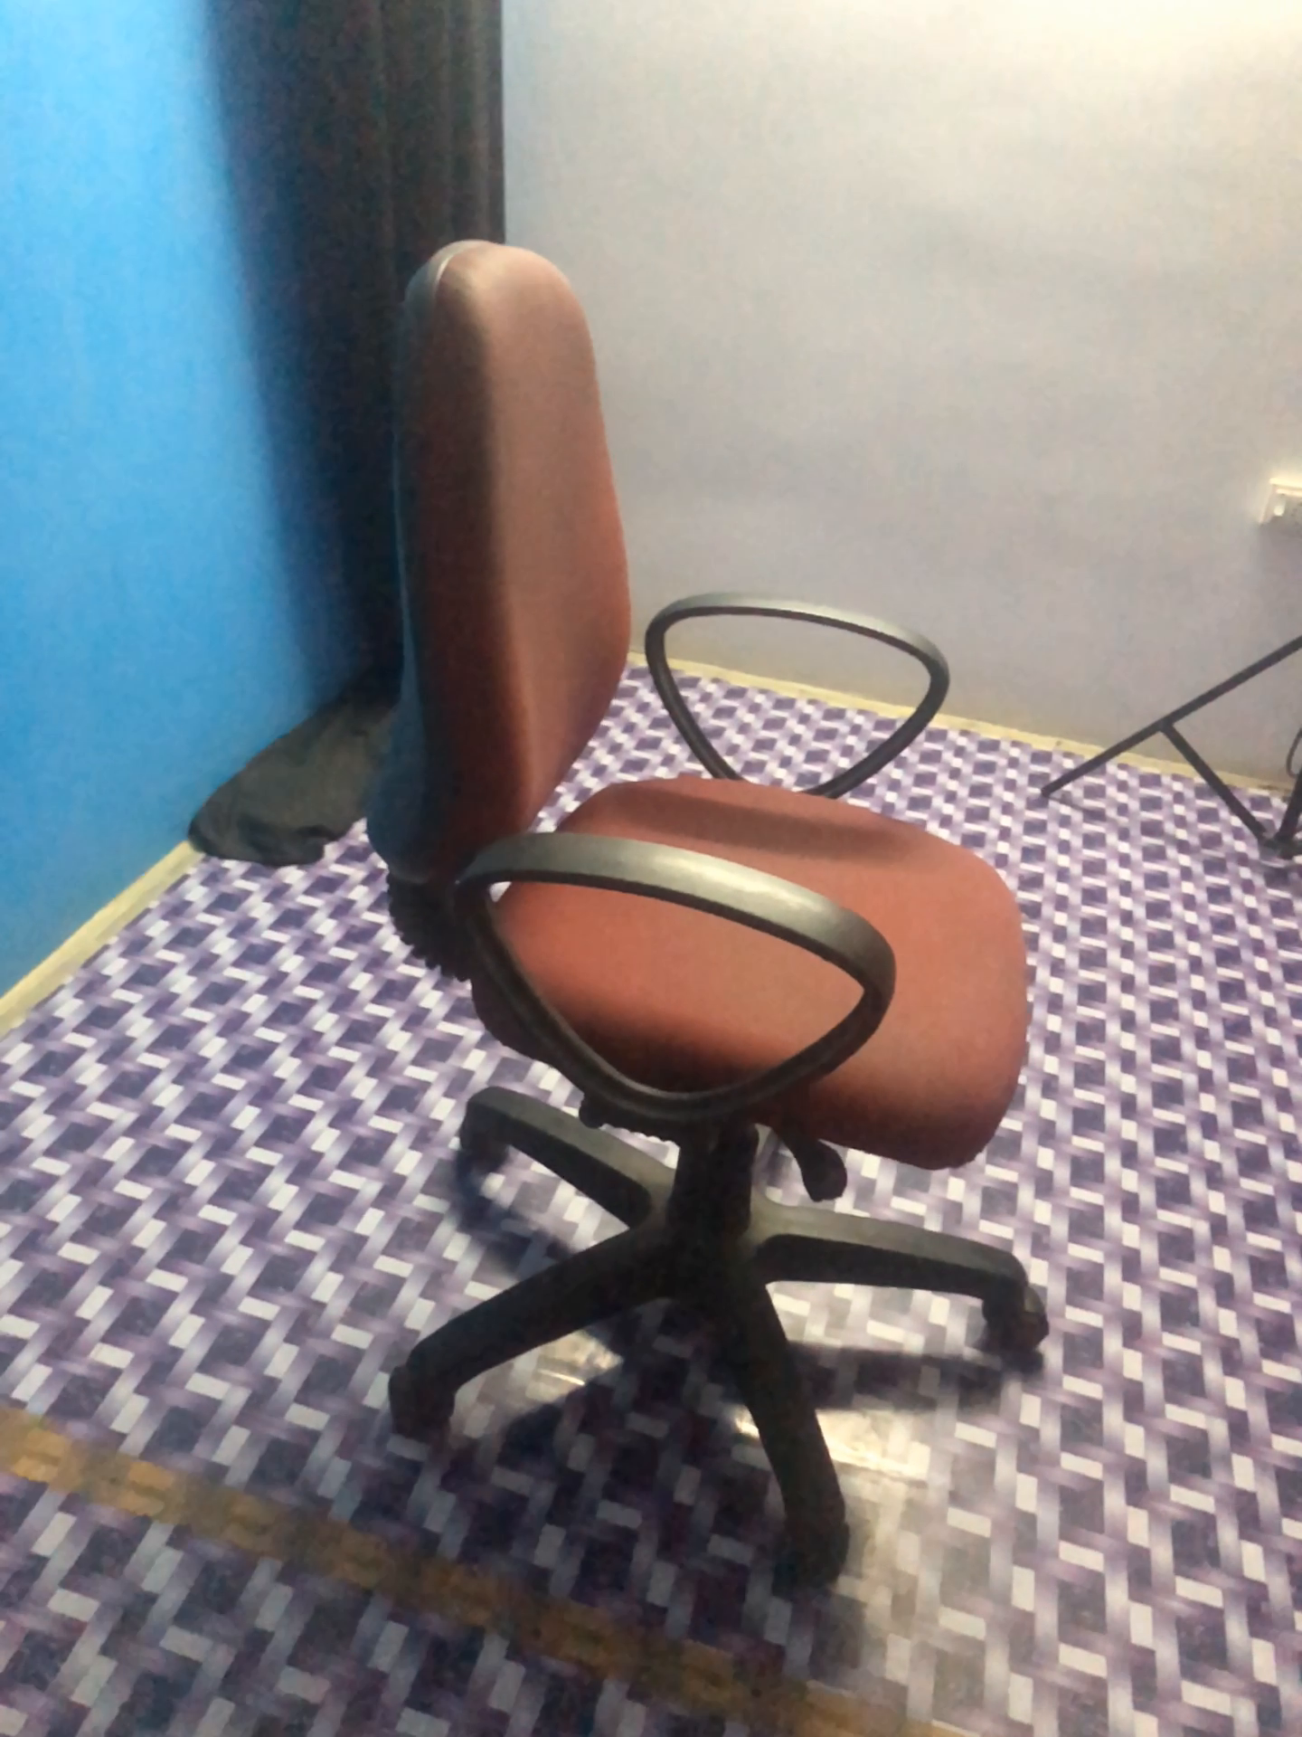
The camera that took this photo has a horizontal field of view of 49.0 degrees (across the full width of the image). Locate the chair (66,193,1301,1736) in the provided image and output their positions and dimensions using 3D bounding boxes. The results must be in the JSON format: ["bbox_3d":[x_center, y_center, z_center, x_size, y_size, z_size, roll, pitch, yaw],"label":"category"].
[{"bbox_3d":[0.101,-0.005,1.196,0.740,0.895,0.704,15,31,13],"label":"chair"}]
